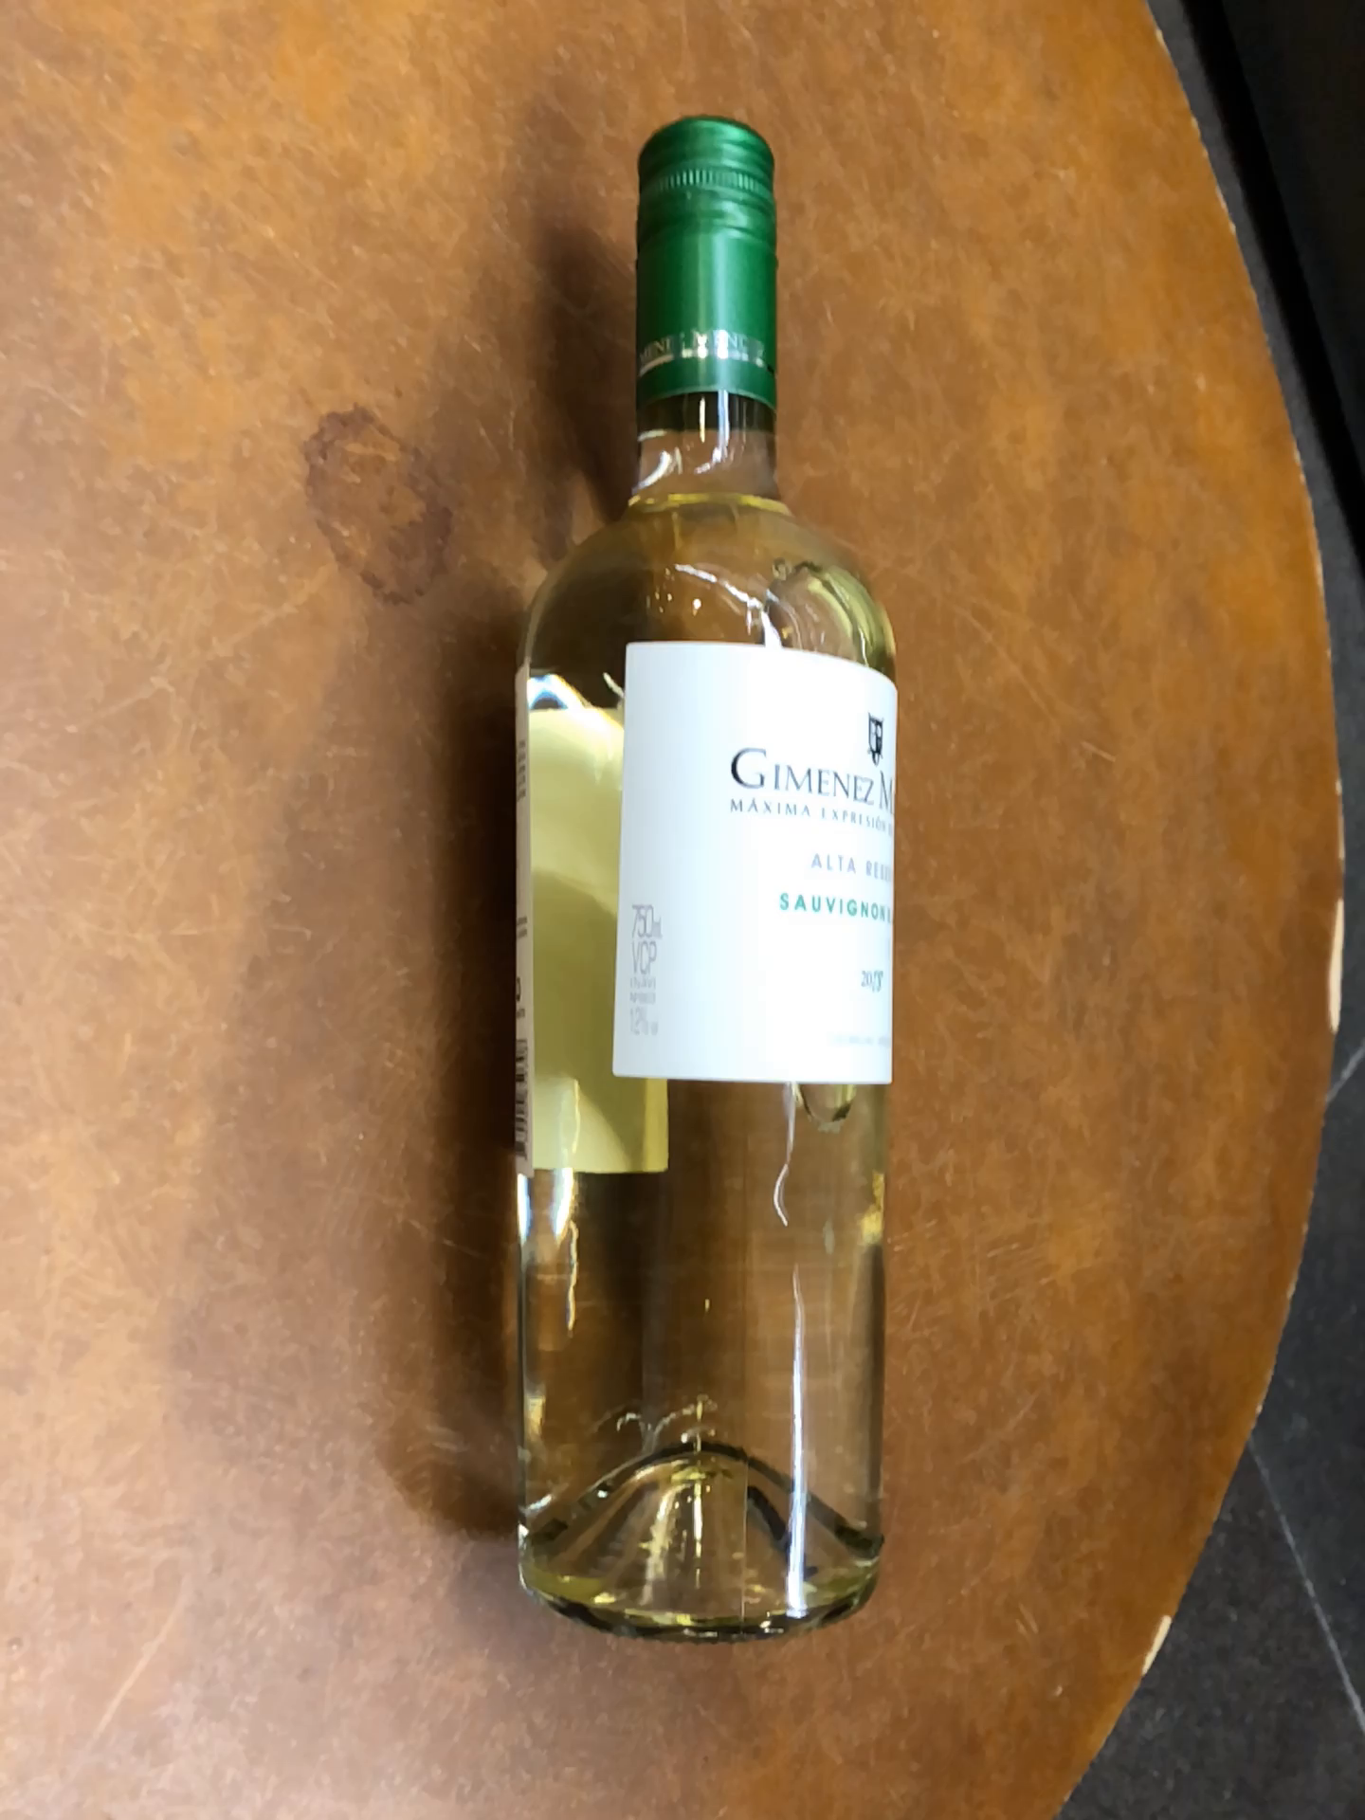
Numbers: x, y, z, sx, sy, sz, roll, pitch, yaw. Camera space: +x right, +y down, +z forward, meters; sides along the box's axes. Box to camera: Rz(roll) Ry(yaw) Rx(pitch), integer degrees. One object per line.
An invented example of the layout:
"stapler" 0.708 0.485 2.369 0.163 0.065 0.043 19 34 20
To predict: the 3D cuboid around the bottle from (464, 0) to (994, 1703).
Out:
"bottle" 0.011 -0.020 0.302 0.091 0.050 0.300 5 83 -40
